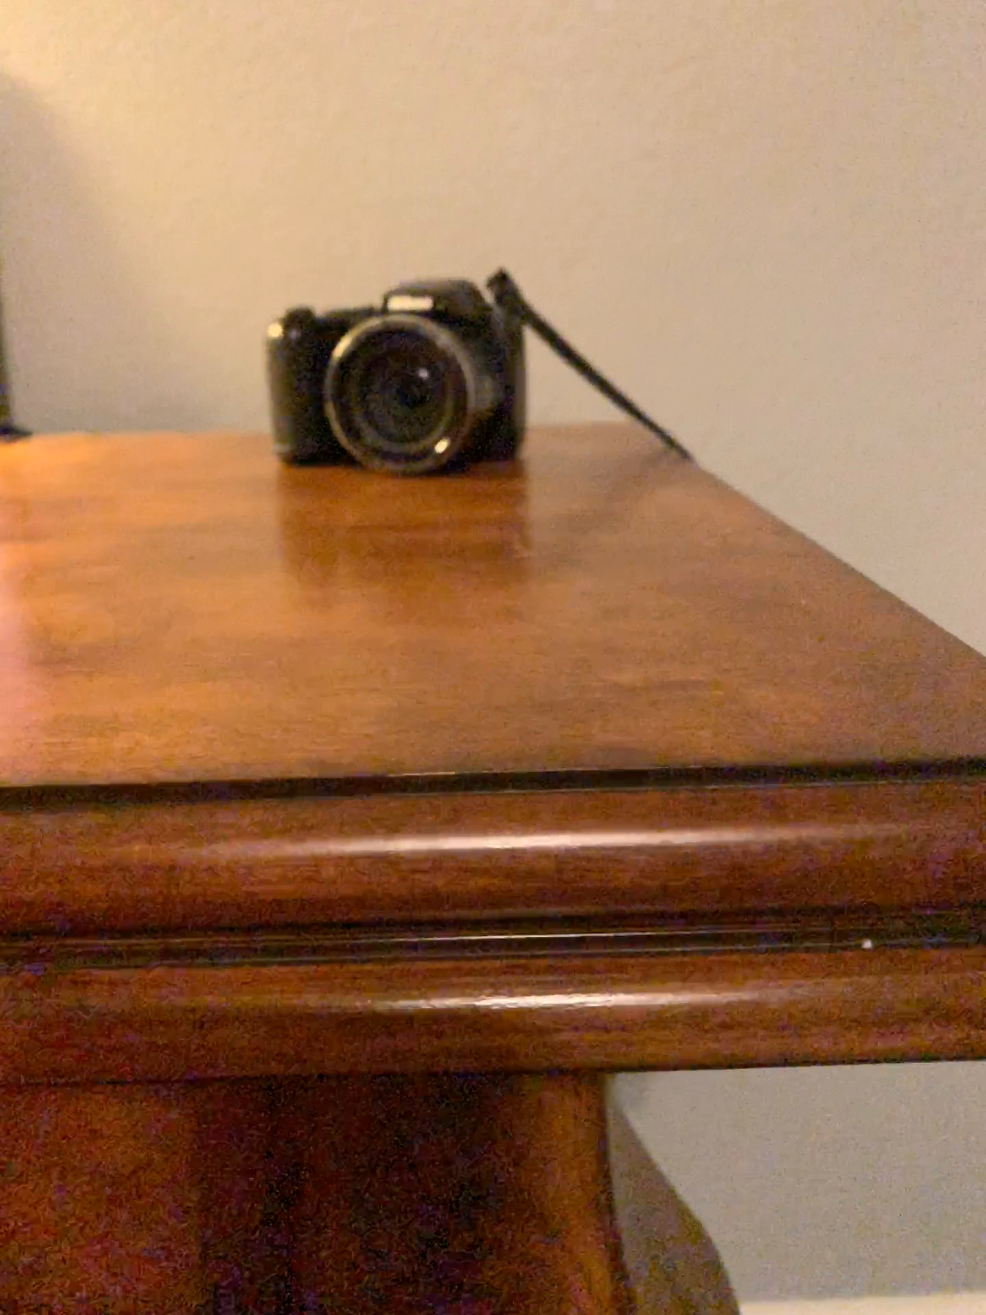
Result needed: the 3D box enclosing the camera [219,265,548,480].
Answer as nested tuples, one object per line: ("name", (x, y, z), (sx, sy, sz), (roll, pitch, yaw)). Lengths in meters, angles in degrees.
("camera", (-0.042, -0.131, 0.478), (0.110, 0.081, 0.123), (3, 17, 15))
